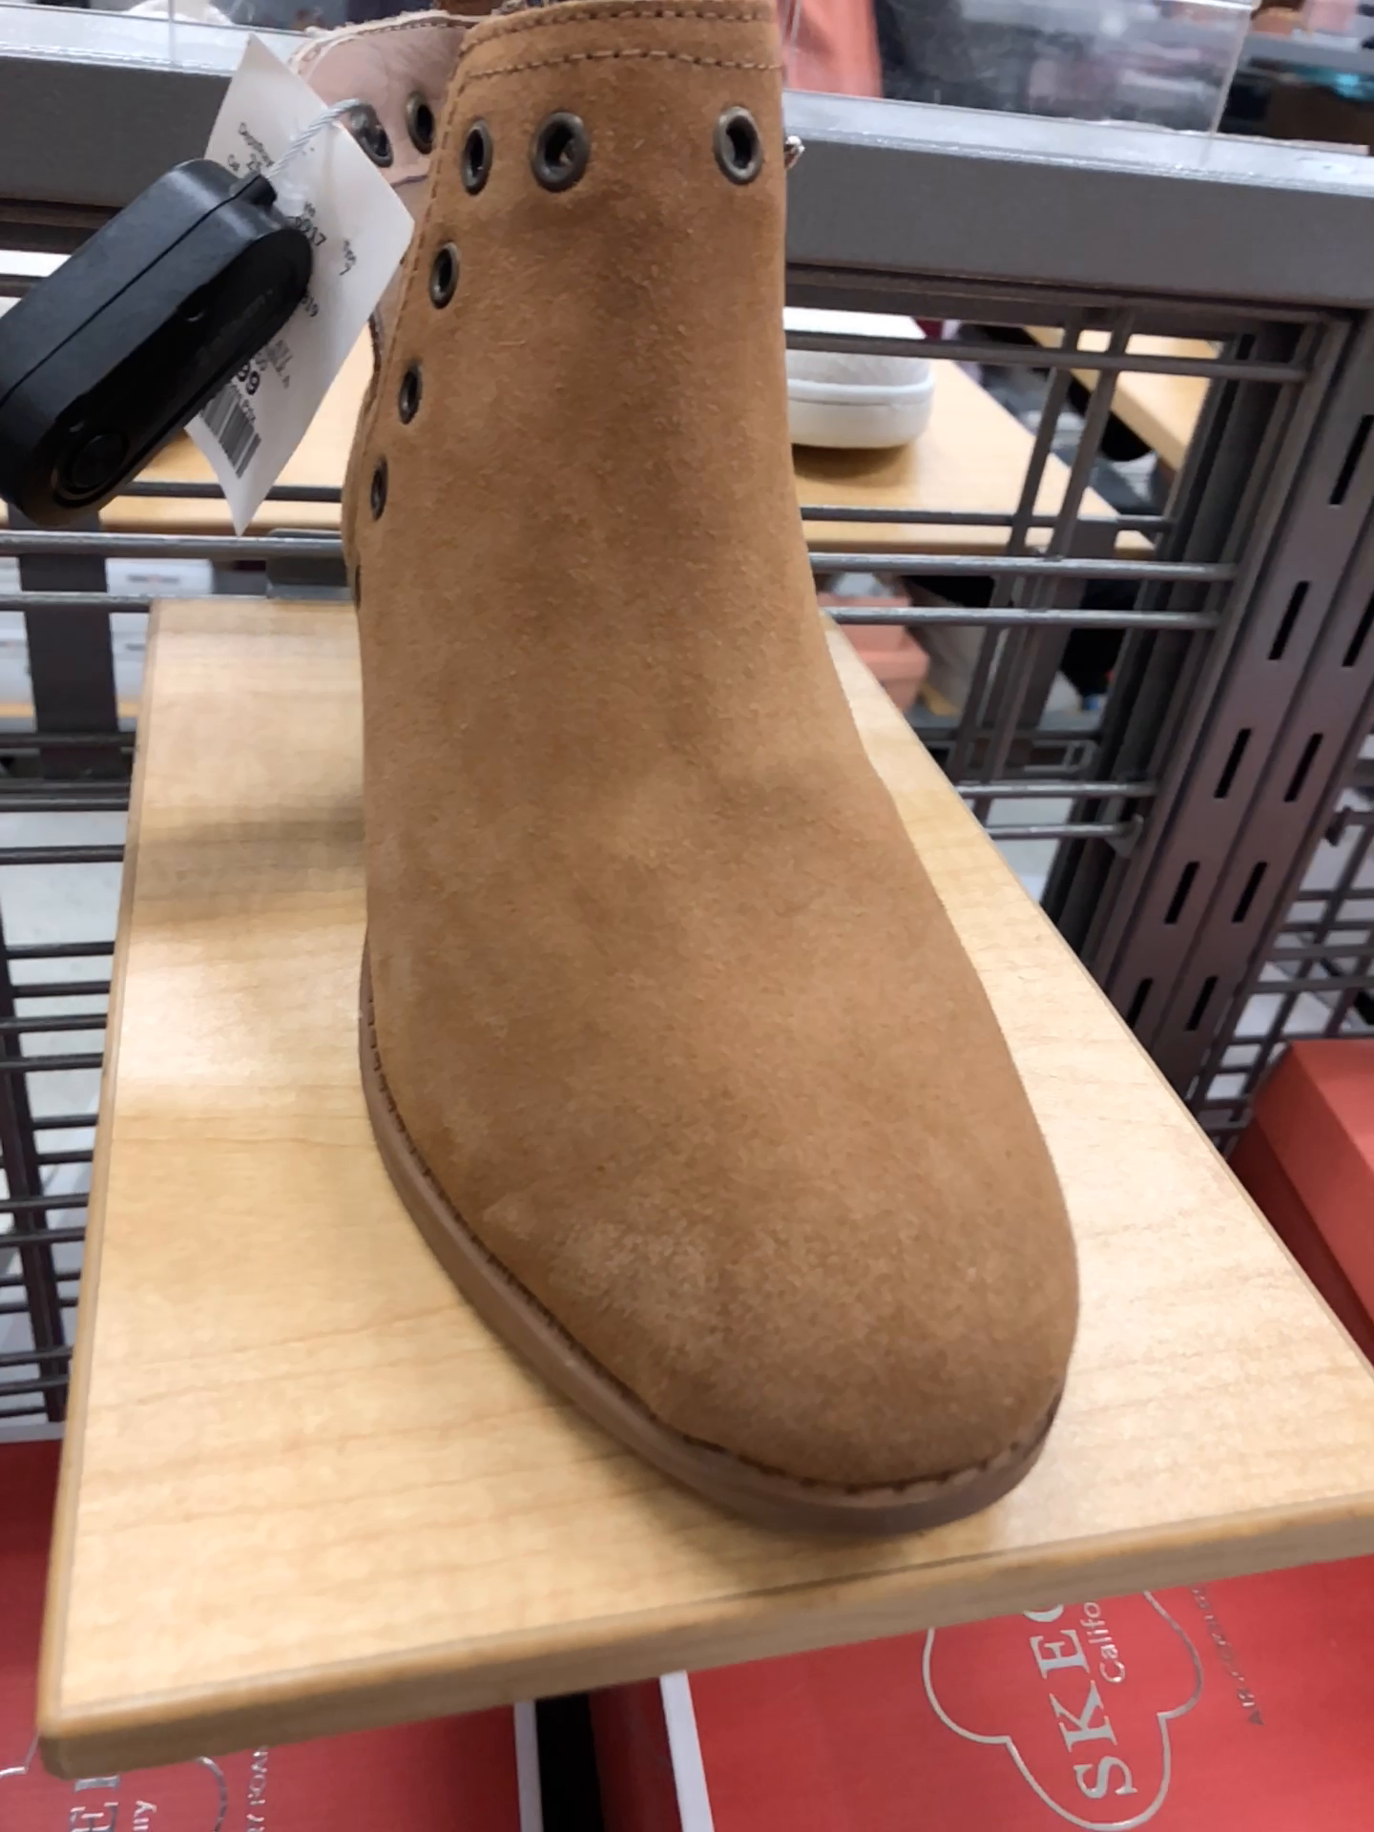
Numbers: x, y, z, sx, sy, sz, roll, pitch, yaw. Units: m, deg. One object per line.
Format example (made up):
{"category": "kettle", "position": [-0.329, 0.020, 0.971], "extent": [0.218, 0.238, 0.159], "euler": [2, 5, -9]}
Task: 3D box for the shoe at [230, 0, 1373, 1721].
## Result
{"category": "shoe", "position": [-0.011, -0.058, 0.236], "extent": [0.092, 0.129, 0.282], "euler": [-4, 38, -19]}
